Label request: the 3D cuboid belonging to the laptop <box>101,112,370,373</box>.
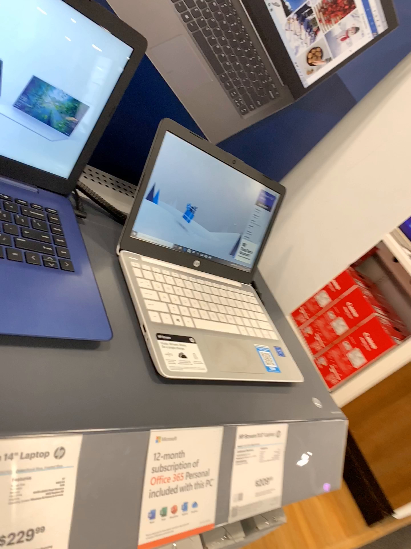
[{"bbox_3d":[0.038,-0.027,0.576,0.267,0.144,0.274,16,39,-46],"label":"laptop"}]
